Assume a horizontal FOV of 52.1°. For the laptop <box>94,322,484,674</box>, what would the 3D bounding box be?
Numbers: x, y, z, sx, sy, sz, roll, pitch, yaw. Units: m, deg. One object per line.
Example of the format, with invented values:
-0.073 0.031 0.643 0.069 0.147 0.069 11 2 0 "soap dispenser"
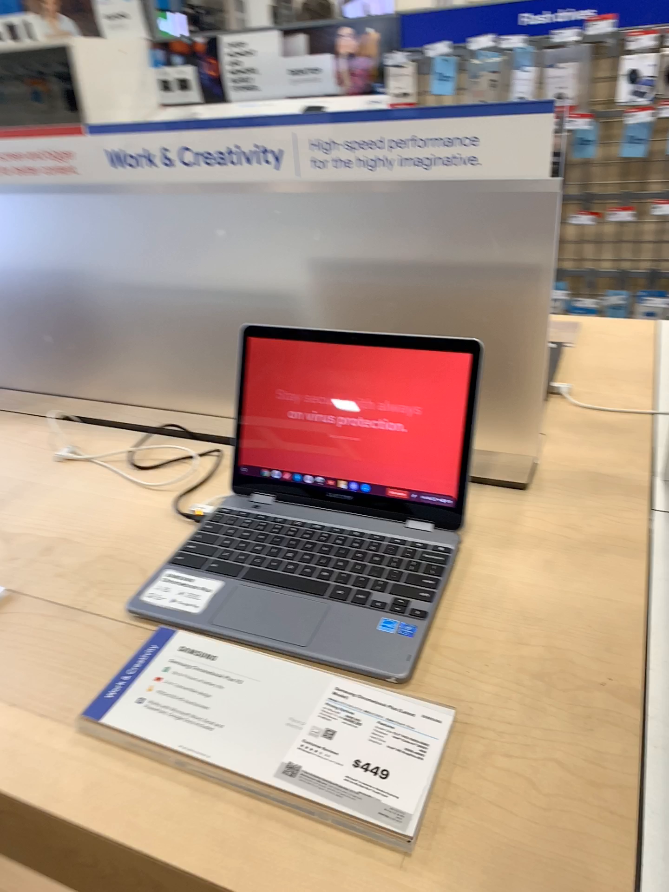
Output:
-0.020 0.021 0.678 0.274 0.183 0.276 8 31 21 "laptop"
